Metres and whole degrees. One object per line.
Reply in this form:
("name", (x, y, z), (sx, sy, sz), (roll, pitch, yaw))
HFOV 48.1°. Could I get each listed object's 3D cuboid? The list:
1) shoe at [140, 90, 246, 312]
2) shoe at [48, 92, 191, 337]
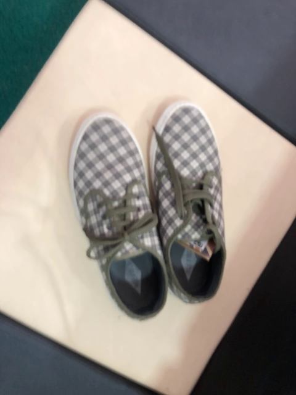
("shoe", (0.055, 0.003, 0.452), (0.100, 0.100, 0.260), (-7, 93, -4))
("shoe", (-0.034, 0.020, 0.436), (0.100, 0.100, 0.270), (-15, 95, -3))
